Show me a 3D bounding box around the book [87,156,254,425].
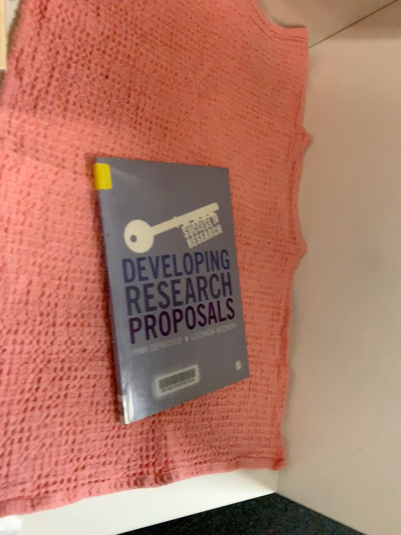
[{"bbox_3d":[-0.020,0.013,0.408,0.166,0.015,0.230,-6,90,-40],"label":"book"}]
